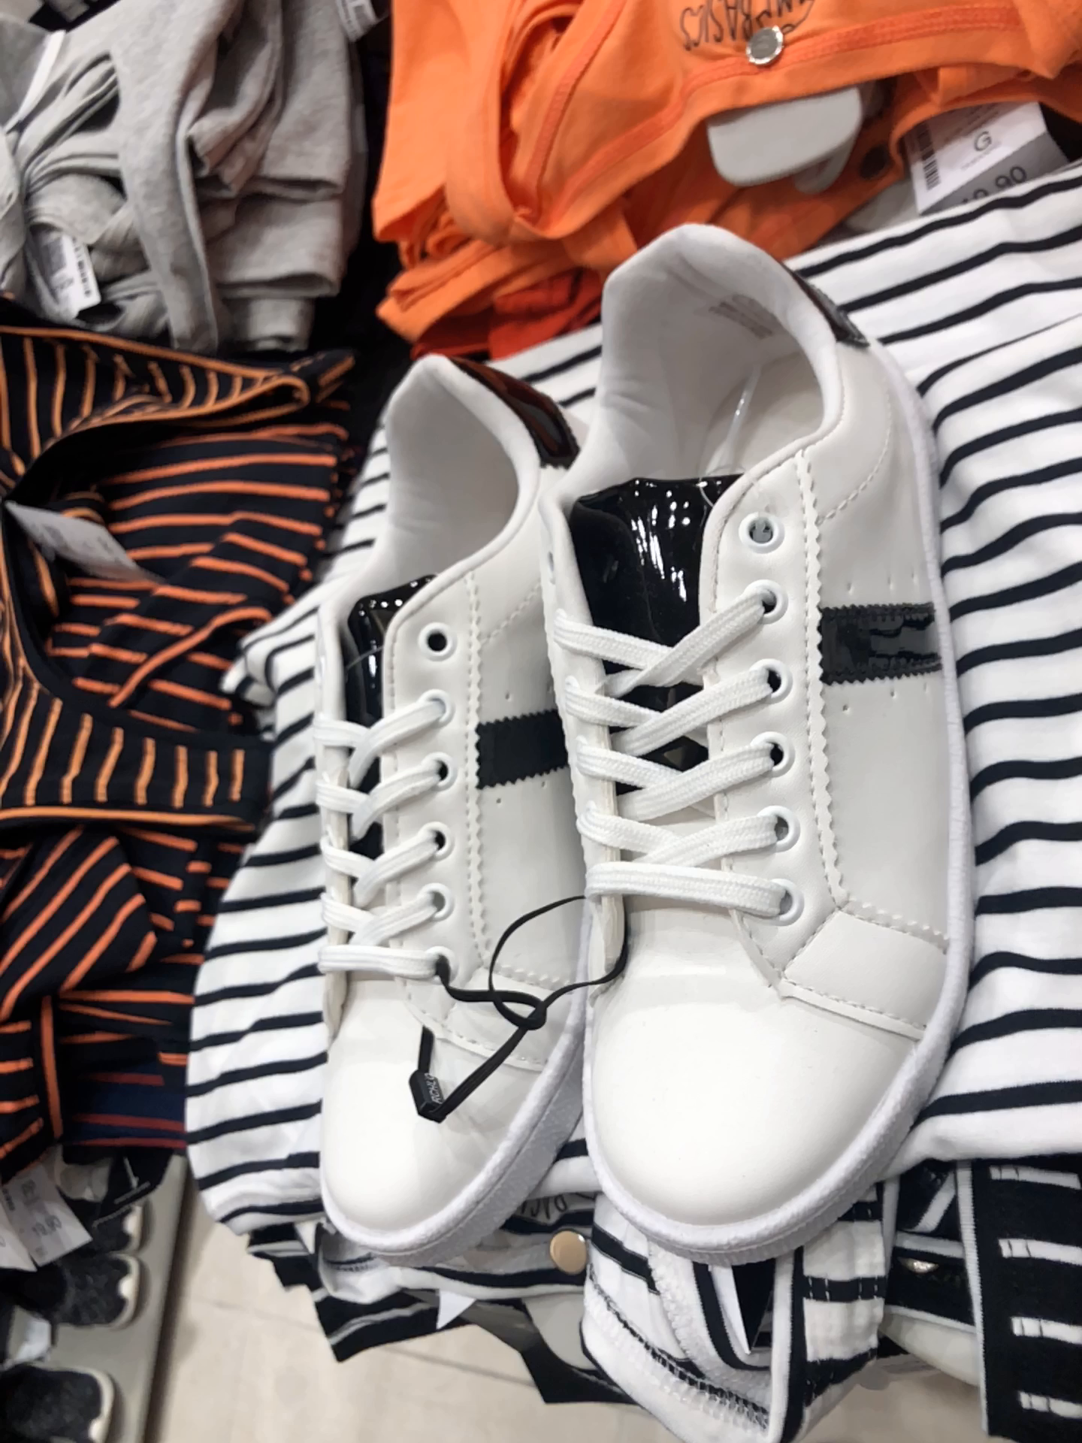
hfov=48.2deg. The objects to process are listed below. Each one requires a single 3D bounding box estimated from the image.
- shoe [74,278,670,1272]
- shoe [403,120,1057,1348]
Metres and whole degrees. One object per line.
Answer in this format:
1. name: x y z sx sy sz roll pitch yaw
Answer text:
1. shoe: -0.031 0.013 0.298 0.080 0.080 0.210 -5 68 34
2. shoe: 0.045 0.002 0.251 0.090 0.080 0.210 -8 67 33
